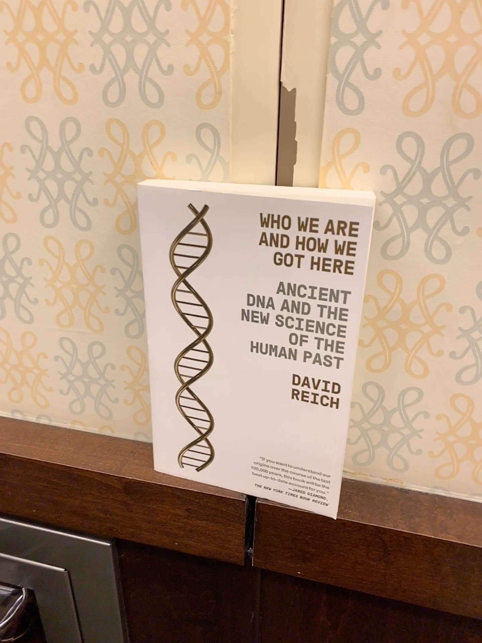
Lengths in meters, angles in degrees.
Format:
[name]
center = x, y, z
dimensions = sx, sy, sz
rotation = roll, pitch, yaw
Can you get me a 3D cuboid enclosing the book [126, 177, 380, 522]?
[book]
center = 0.005, 0.021, 0.303
dimensions = 0.127, 0.199, 0.041
rotation = 6, 24, 10
